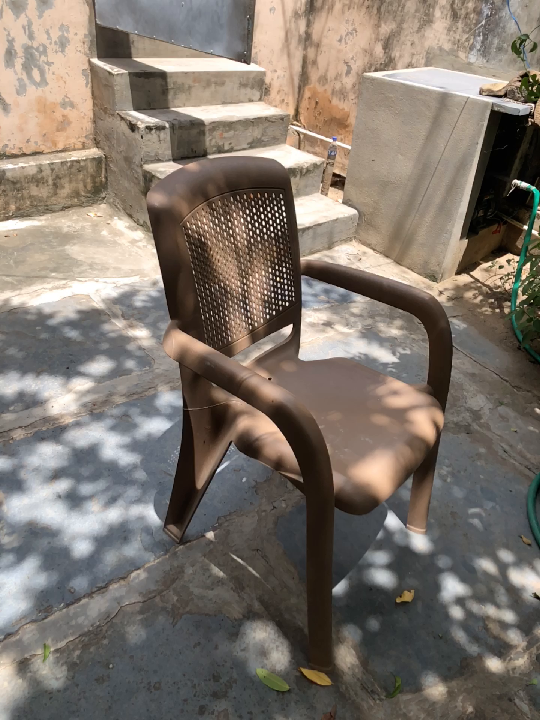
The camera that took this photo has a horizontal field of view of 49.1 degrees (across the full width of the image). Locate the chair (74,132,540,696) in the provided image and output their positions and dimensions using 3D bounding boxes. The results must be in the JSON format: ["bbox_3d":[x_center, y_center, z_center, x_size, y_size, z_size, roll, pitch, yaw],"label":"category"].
[{"bbox_3d":[0.082,0.051,1.298,0.680,0.825,0.634,29,40,28],"label":"chair"}]
